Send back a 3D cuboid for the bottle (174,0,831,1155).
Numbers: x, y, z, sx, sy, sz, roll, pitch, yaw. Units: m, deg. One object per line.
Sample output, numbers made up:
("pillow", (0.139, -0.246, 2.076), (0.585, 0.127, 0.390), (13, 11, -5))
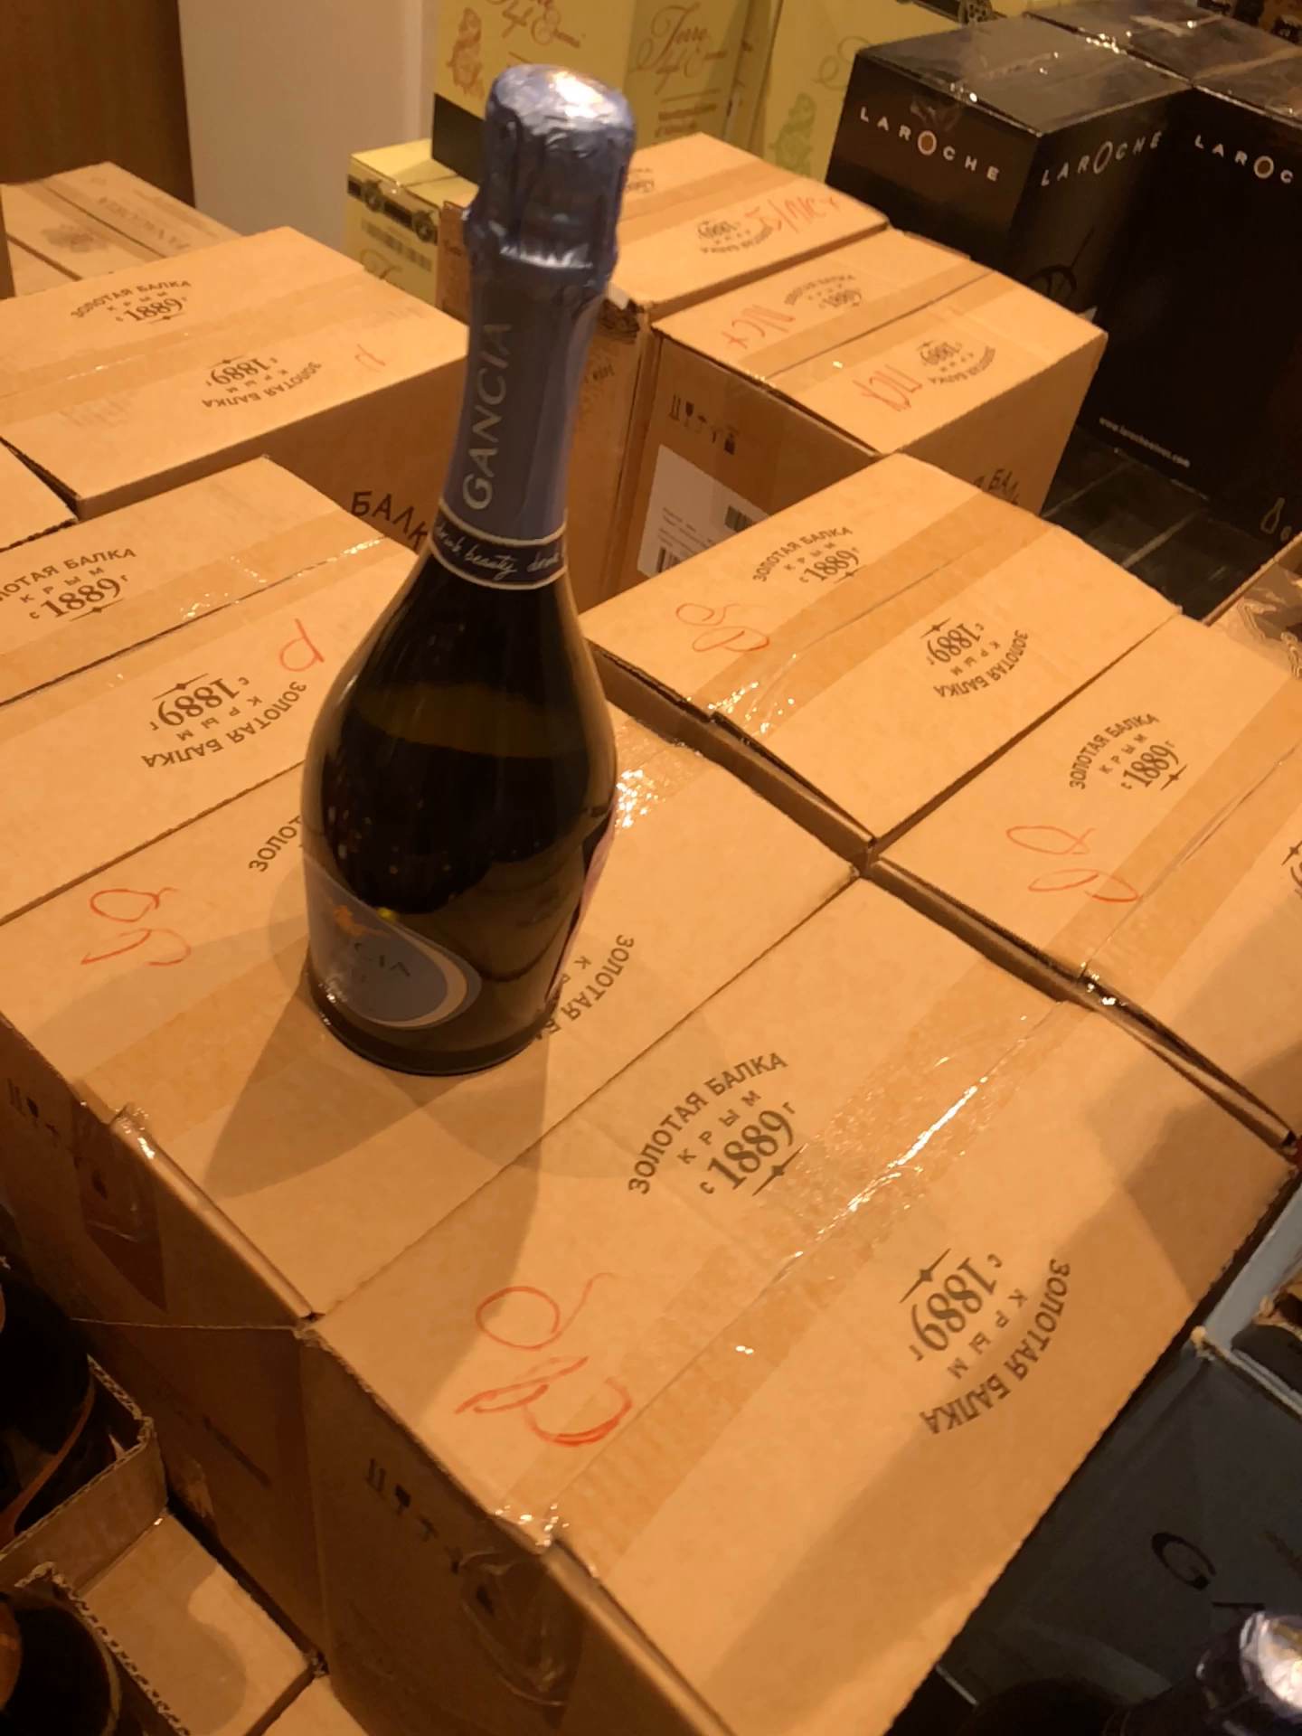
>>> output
("bottle", (-0.051, -0.060, 0.402), (0.101, 0.298, 0.090), (35, 49, 21))
